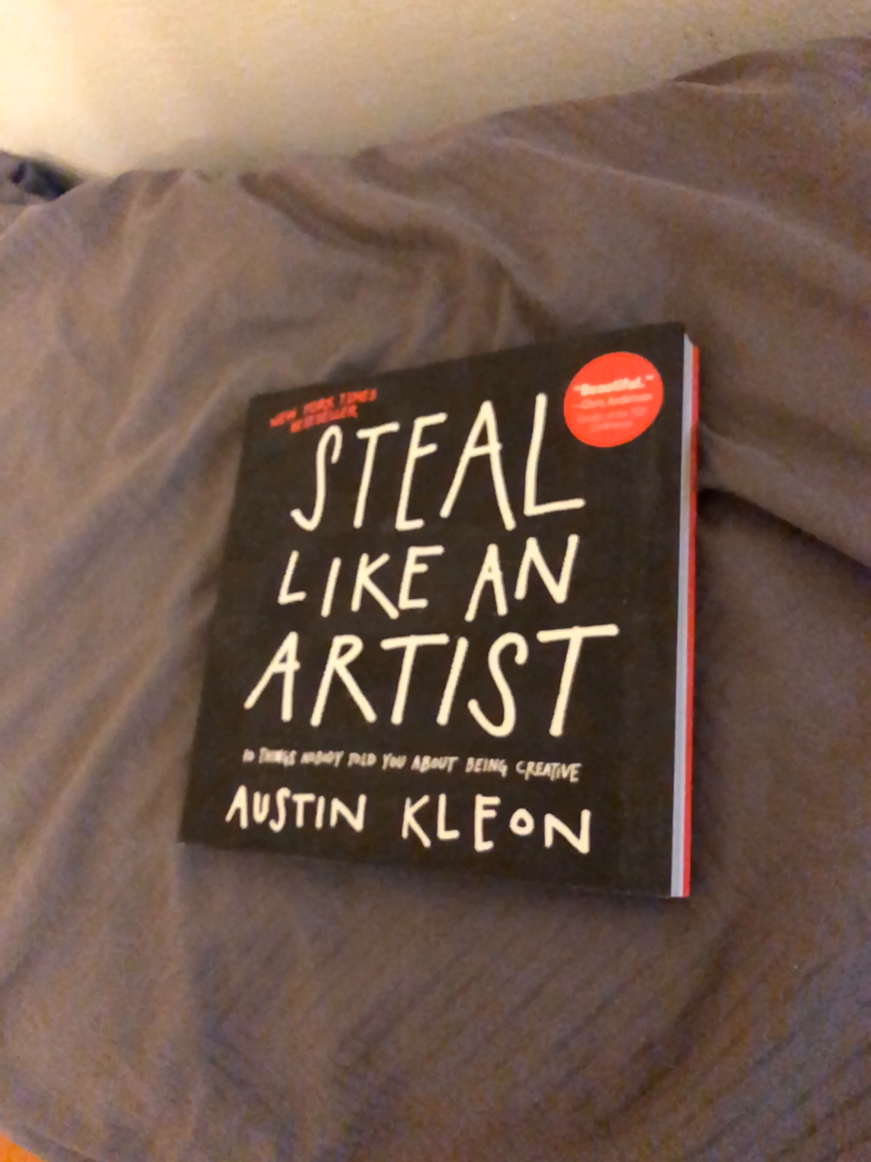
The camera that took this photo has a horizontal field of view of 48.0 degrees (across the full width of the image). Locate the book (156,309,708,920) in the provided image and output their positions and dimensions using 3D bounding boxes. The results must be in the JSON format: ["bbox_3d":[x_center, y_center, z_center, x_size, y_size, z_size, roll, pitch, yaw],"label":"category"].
[{"bbox_3d":[-0.003,0.008,0.293,0.160,0.020,0.160,-2,73,27],"label":"book"}]
